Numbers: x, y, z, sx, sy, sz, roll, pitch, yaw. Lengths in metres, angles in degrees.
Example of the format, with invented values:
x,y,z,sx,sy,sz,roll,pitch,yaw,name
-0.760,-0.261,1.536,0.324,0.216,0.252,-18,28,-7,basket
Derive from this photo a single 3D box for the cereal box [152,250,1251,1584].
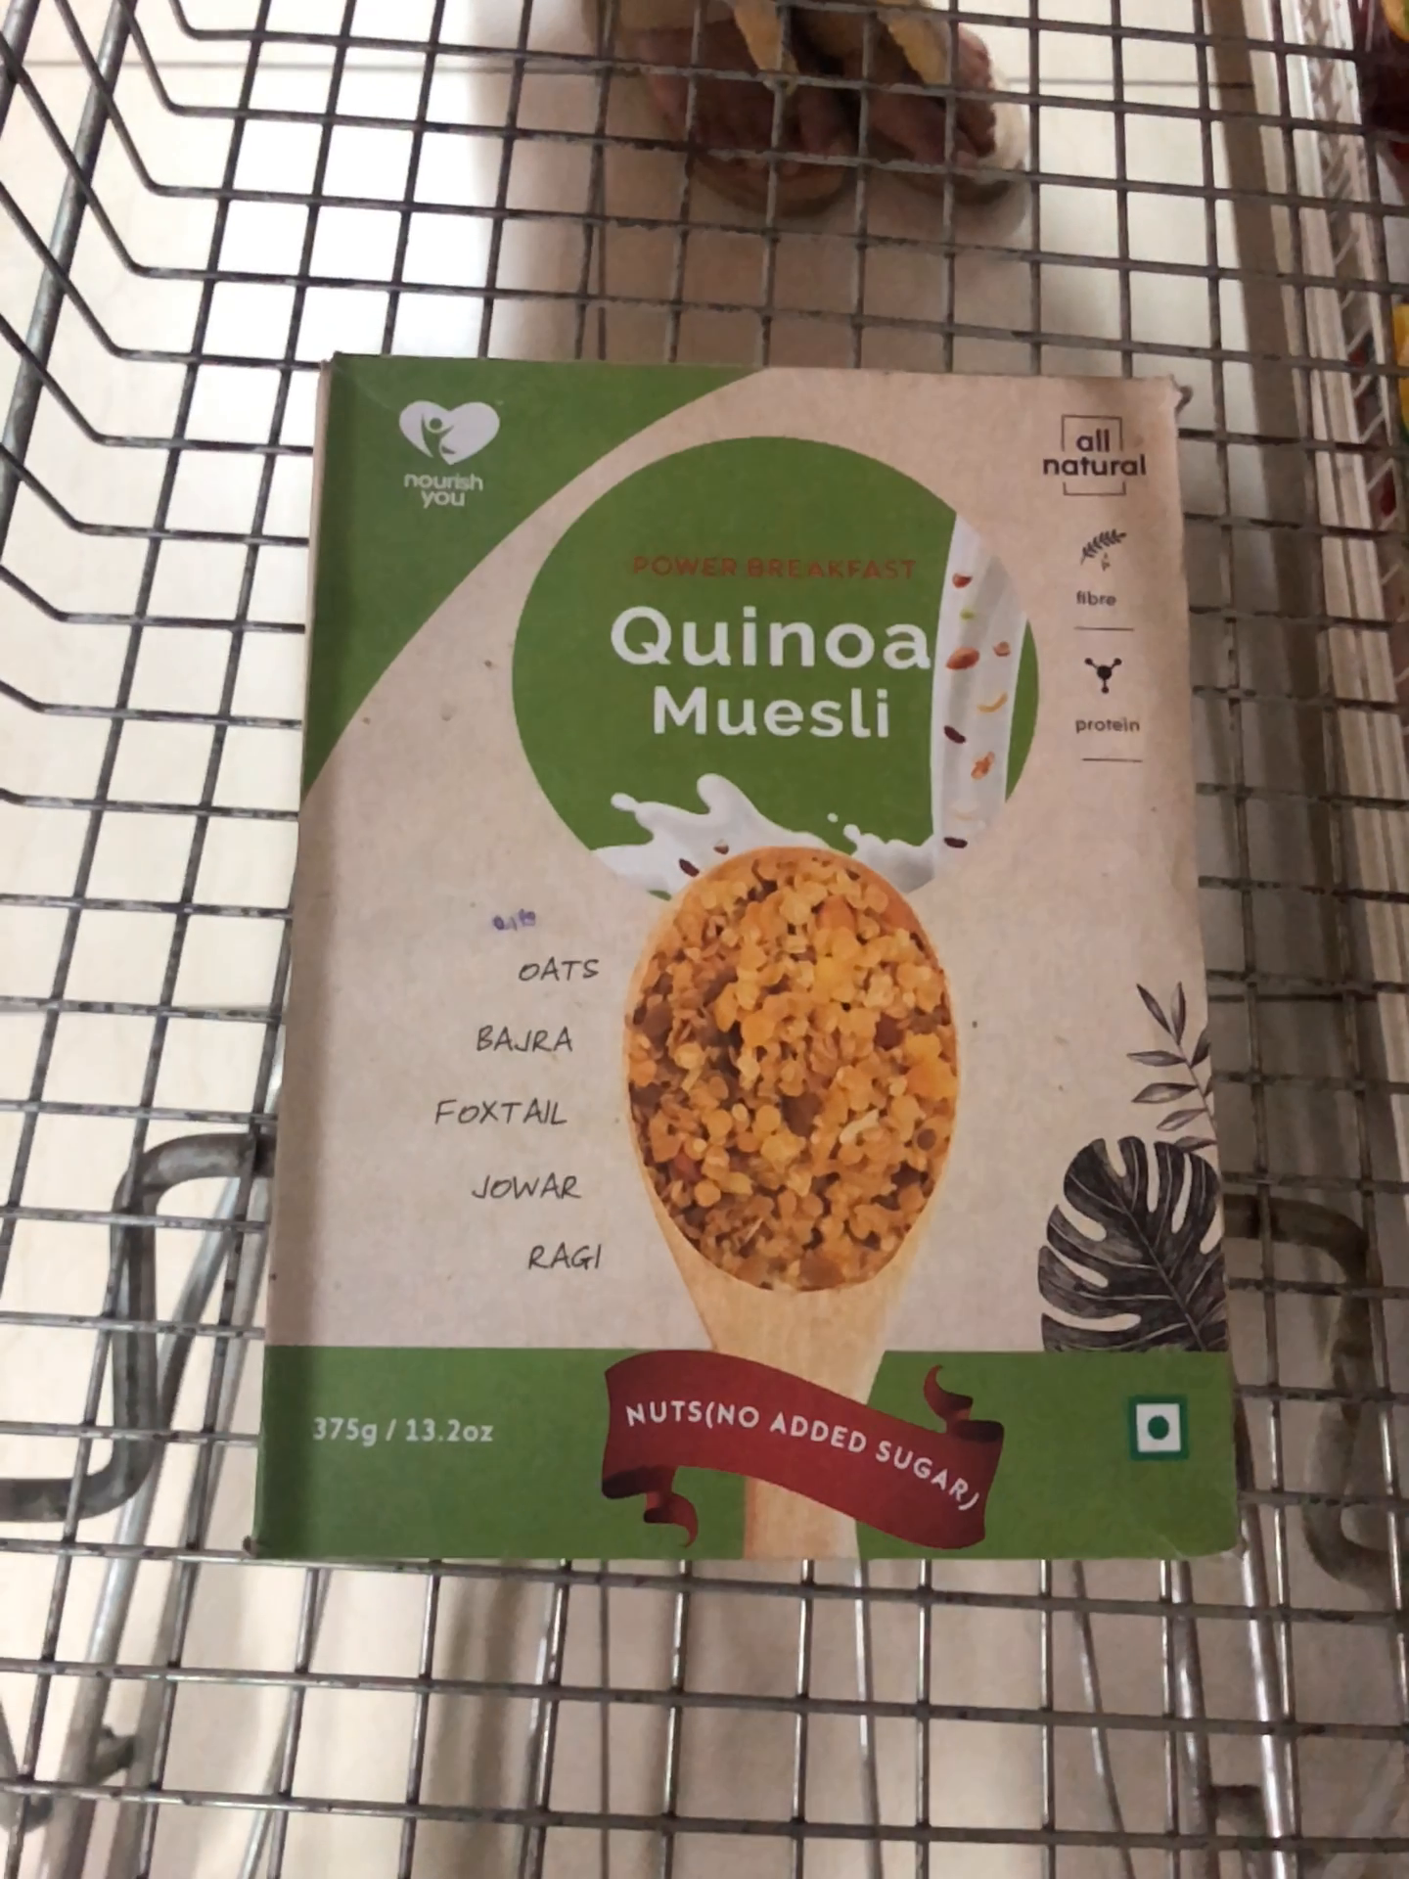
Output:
x,y,z,sx,sy,sz,roll,pitch,yaw,name
-0.001,-0.005,0.277,0.160,0.060,0.210,1,79,-4,cereal box
